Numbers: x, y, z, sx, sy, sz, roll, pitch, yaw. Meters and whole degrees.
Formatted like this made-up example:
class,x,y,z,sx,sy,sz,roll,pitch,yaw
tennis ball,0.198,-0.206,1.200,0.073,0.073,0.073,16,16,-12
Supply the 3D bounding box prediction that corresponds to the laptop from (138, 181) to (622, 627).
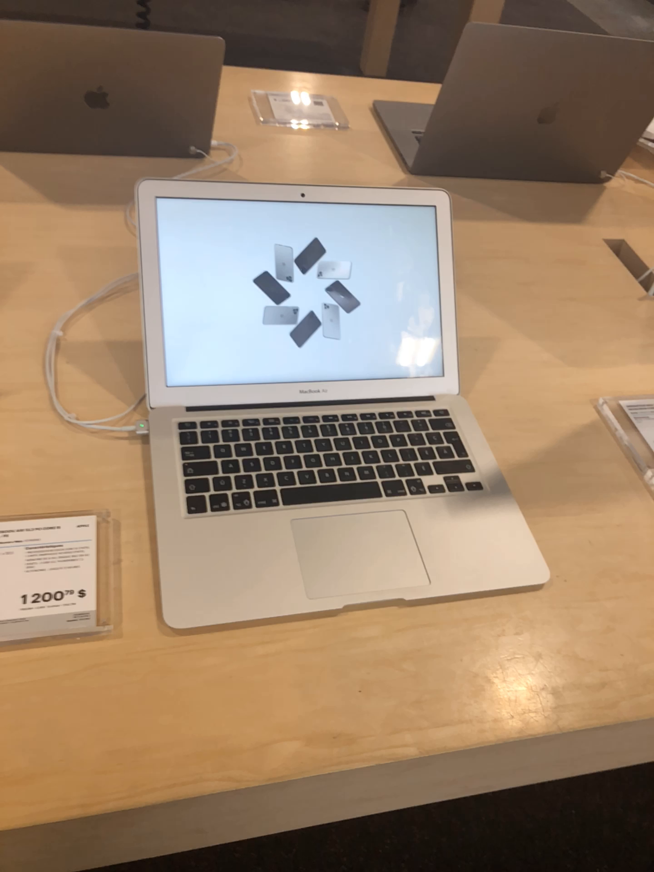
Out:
class,x,y,z,sx,sy,sz,roll,pitch,yaw
laptop,0.005,-0.055,0.624,0.303,0.137,0.372,-3,48,-16
